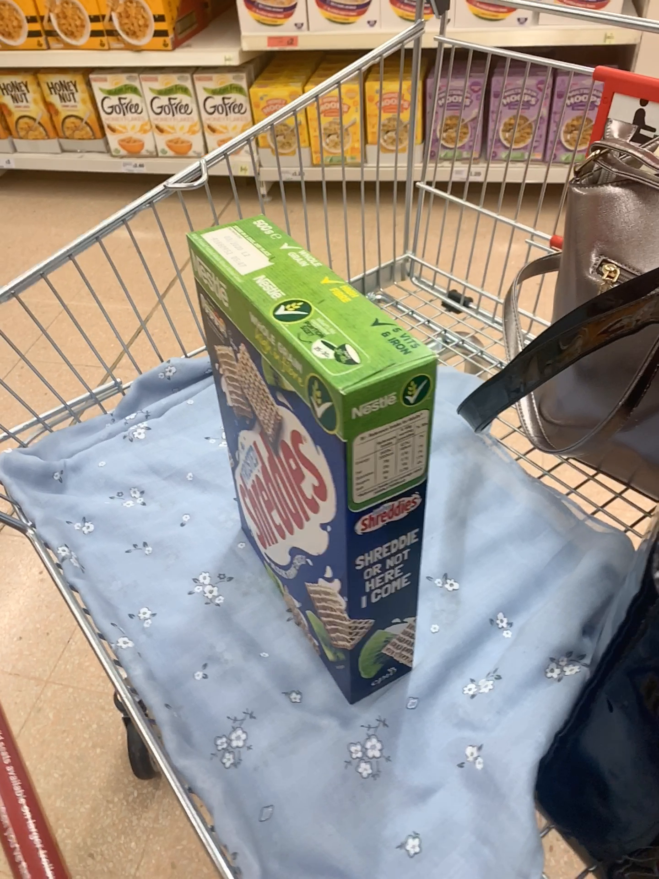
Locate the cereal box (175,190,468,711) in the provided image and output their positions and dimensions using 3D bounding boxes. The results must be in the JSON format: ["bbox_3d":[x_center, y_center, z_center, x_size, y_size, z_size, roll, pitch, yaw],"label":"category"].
[{"bbox_3d":[-0.008,0.016,0.449,0.060,0.287,0.201,-24,47,-20],"label":"cereal box"}]
